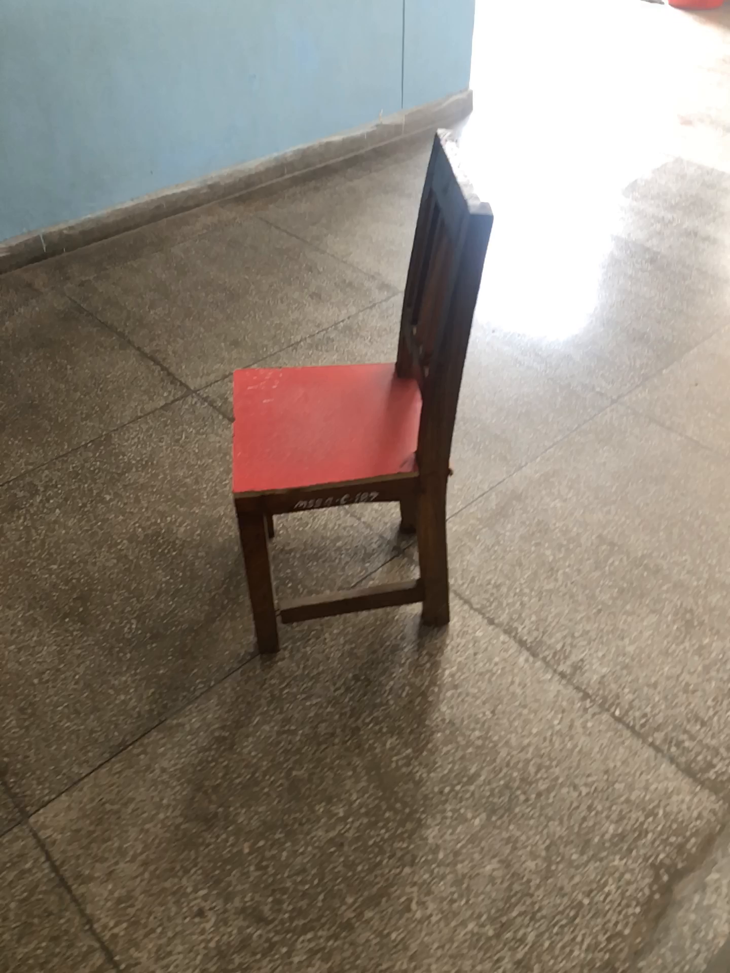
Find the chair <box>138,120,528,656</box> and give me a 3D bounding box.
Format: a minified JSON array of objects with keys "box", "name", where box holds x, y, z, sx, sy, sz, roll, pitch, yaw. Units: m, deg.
[{"box":[-0.058,-0.133,1.410,0.480,0.817,0.401,-6,45,-5],"name":"chair"}]
